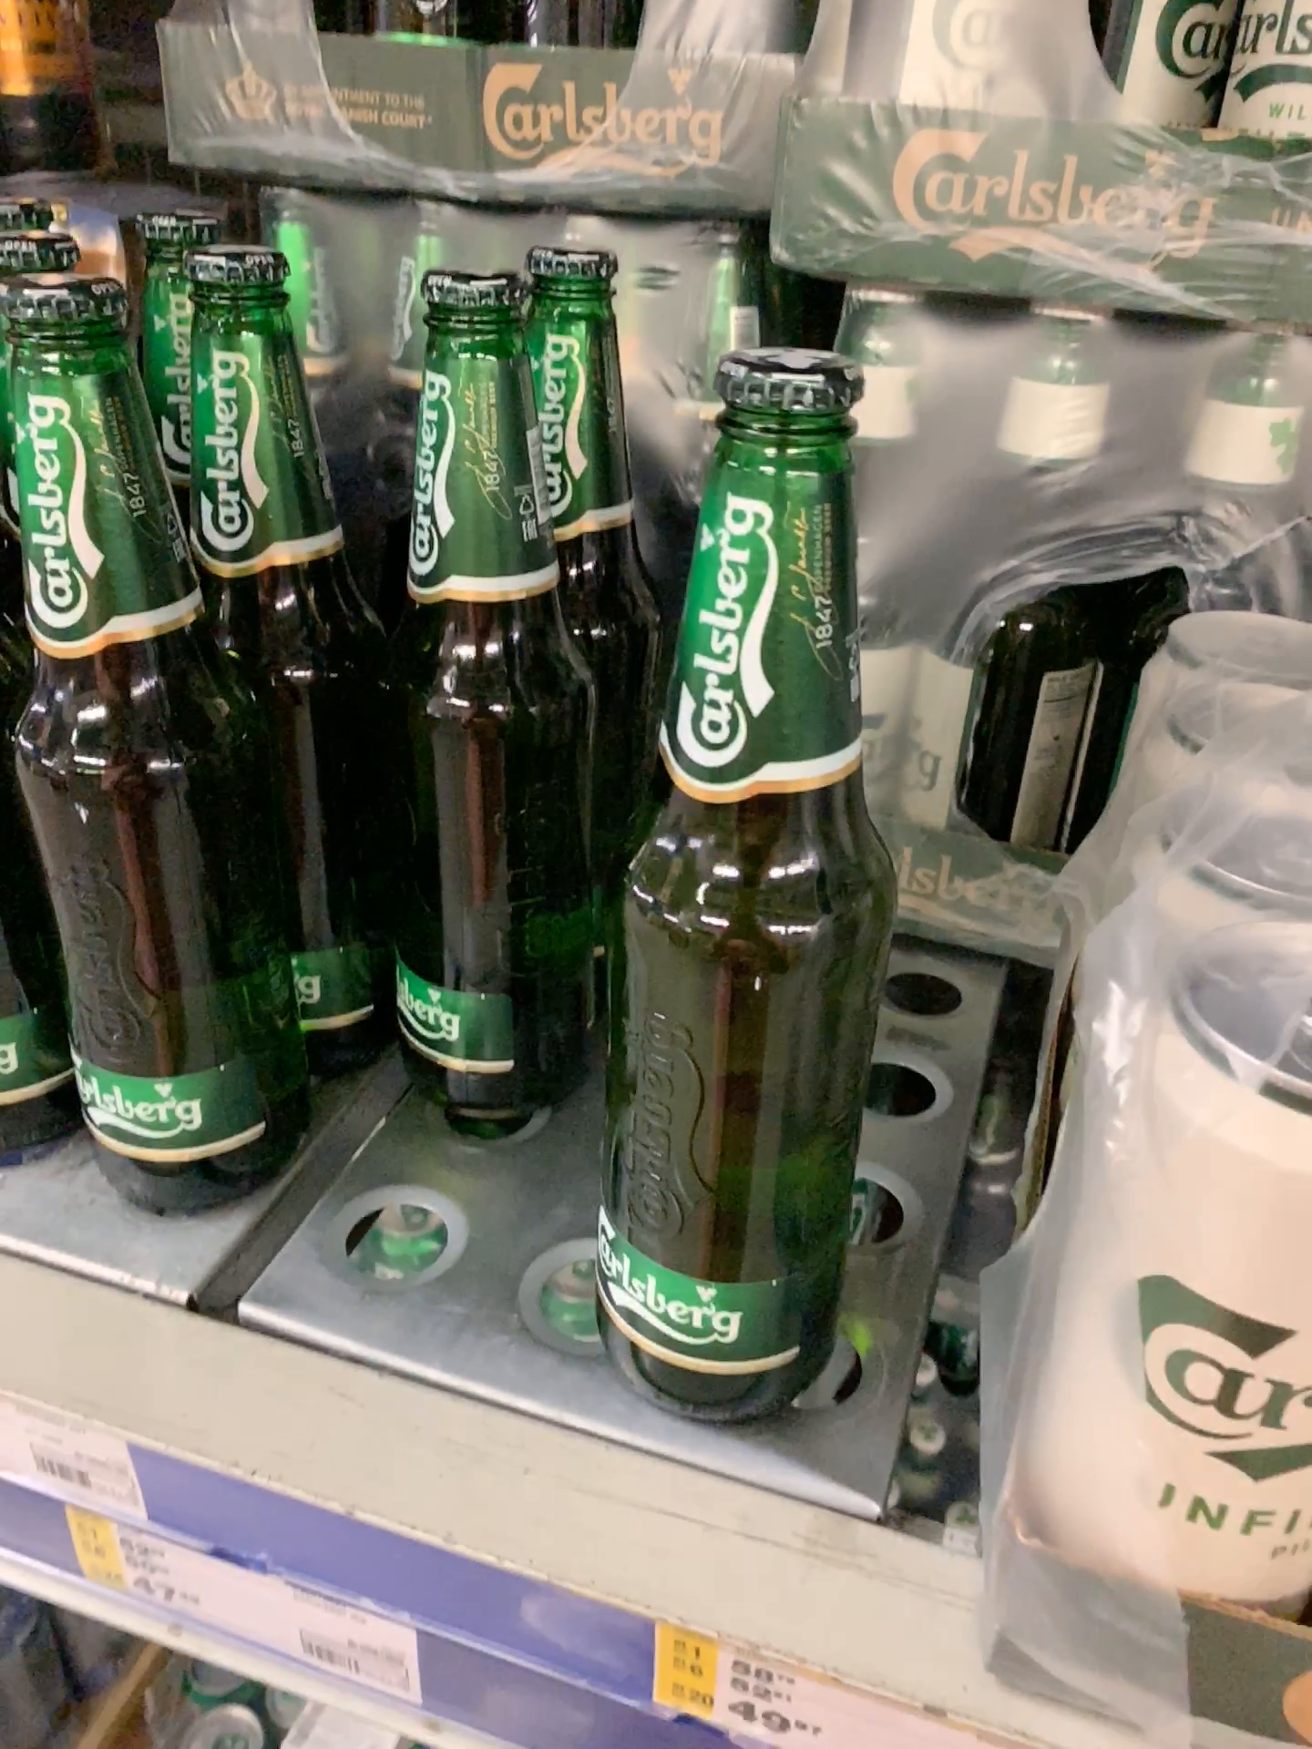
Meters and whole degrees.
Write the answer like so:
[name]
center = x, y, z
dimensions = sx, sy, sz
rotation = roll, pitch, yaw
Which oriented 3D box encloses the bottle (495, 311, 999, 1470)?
[bottle]
center = 0.013, 0.014, 0.304
dimensions = 0.072, 0.248, 0.060
rotation = 17, 33, 23
